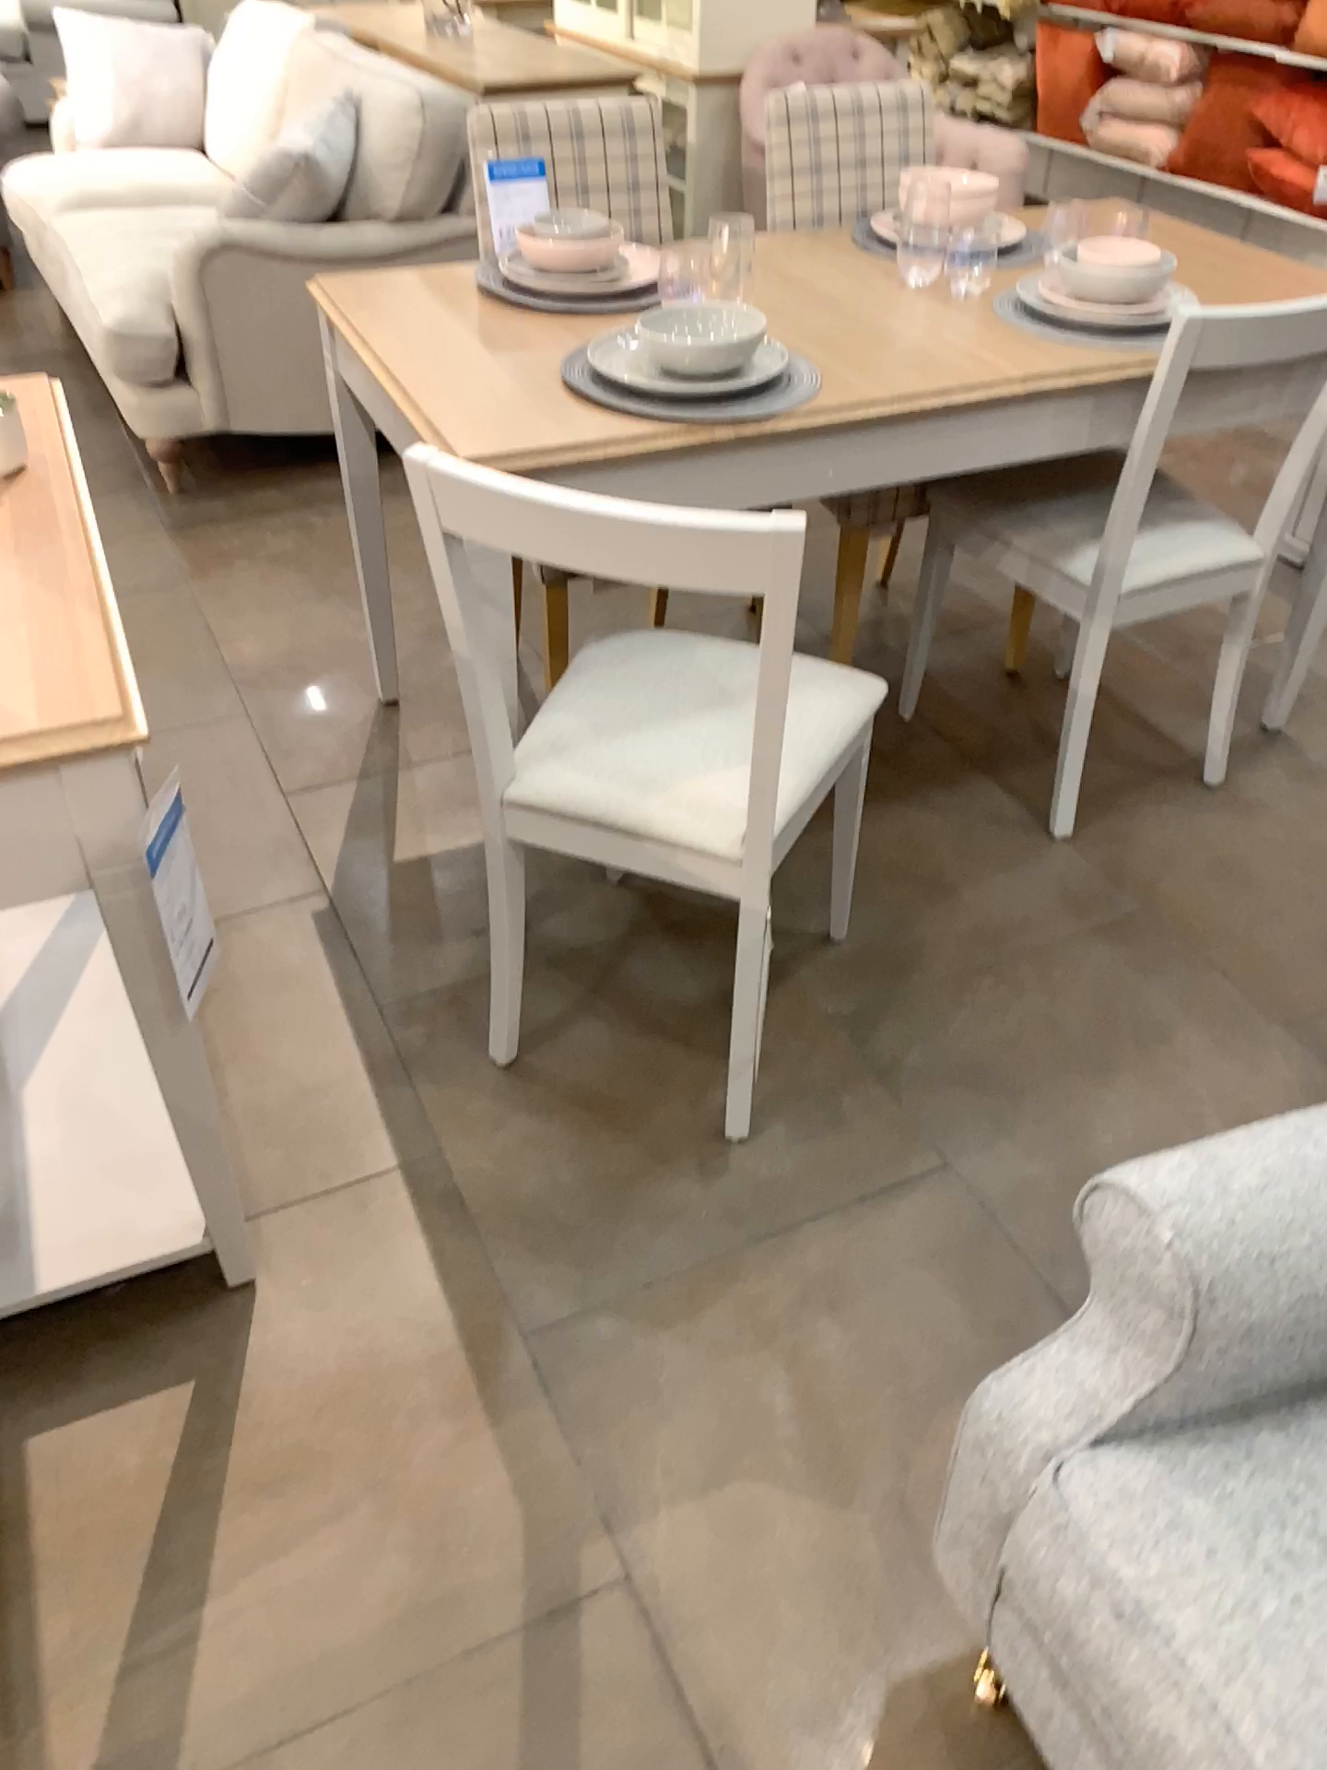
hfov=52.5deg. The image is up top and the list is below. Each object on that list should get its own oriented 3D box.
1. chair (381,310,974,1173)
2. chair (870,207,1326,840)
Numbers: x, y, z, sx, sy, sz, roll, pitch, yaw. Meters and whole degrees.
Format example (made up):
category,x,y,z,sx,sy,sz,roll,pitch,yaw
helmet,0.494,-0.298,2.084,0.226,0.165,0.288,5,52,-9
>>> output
category,x,y,z,sx,sy,sz,roll,pitch,yaw
chair,0.037,-0.180,1.651,0.461,0.817,0.539,14,40,16
chair,0.719,-0.605,2.235,0.431,0.817,0.538,-17,41,-22
